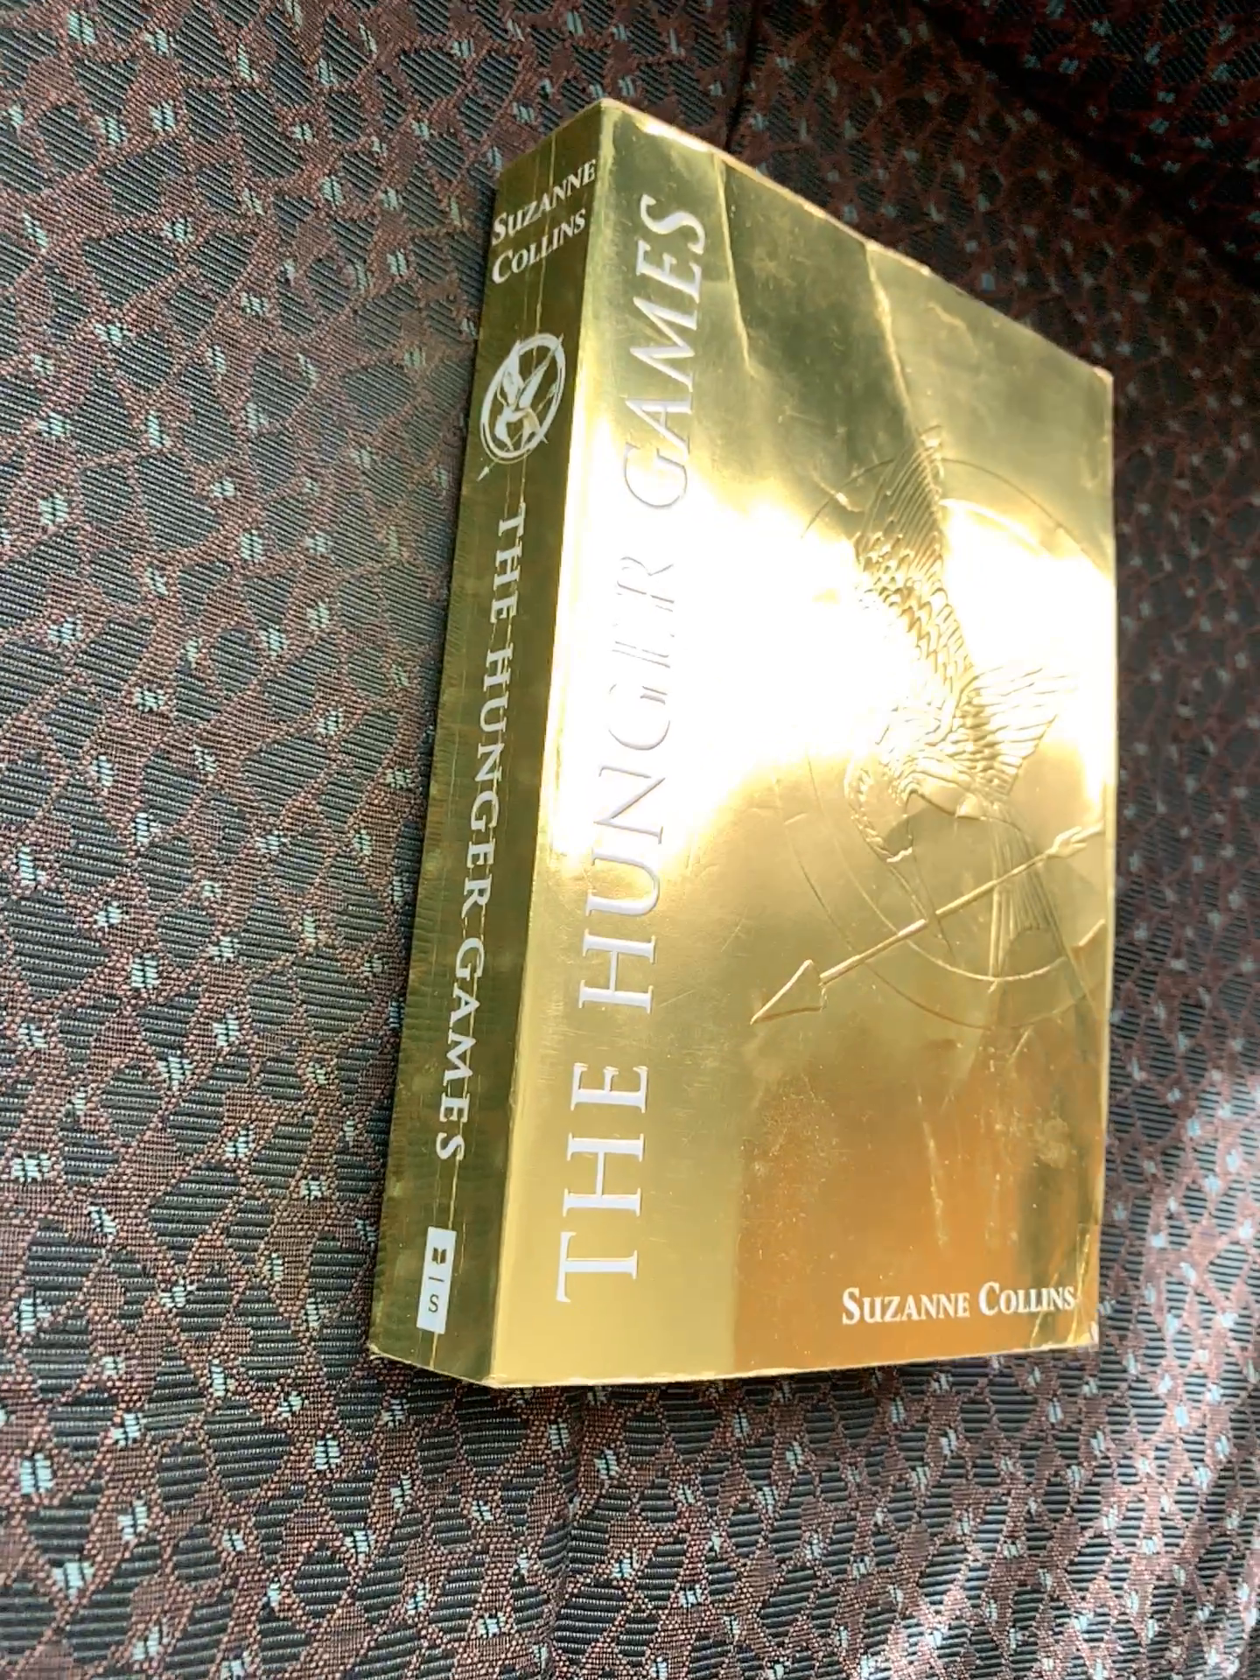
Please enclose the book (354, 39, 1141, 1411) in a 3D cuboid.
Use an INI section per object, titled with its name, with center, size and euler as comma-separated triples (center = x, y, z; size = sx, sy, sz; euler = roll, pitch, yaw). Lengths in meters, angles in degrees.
[book]
center = 0.034, -0.012, 0.240
size = 0.142, 0.037, 0.200
euler = 12, 76, -35
